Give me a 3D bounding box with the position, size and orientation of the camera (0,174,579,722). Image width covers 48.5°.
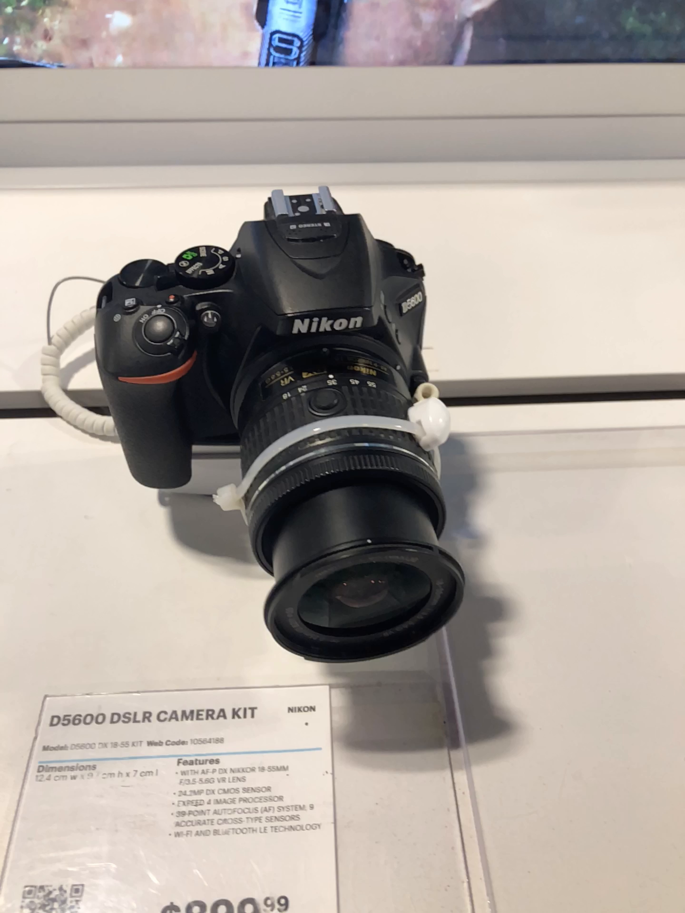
[{"bbox_3d":[-0.022,-0.012,0.246,0.130,0.089,0.141,-7,46,-7],"label":"camera"}]
